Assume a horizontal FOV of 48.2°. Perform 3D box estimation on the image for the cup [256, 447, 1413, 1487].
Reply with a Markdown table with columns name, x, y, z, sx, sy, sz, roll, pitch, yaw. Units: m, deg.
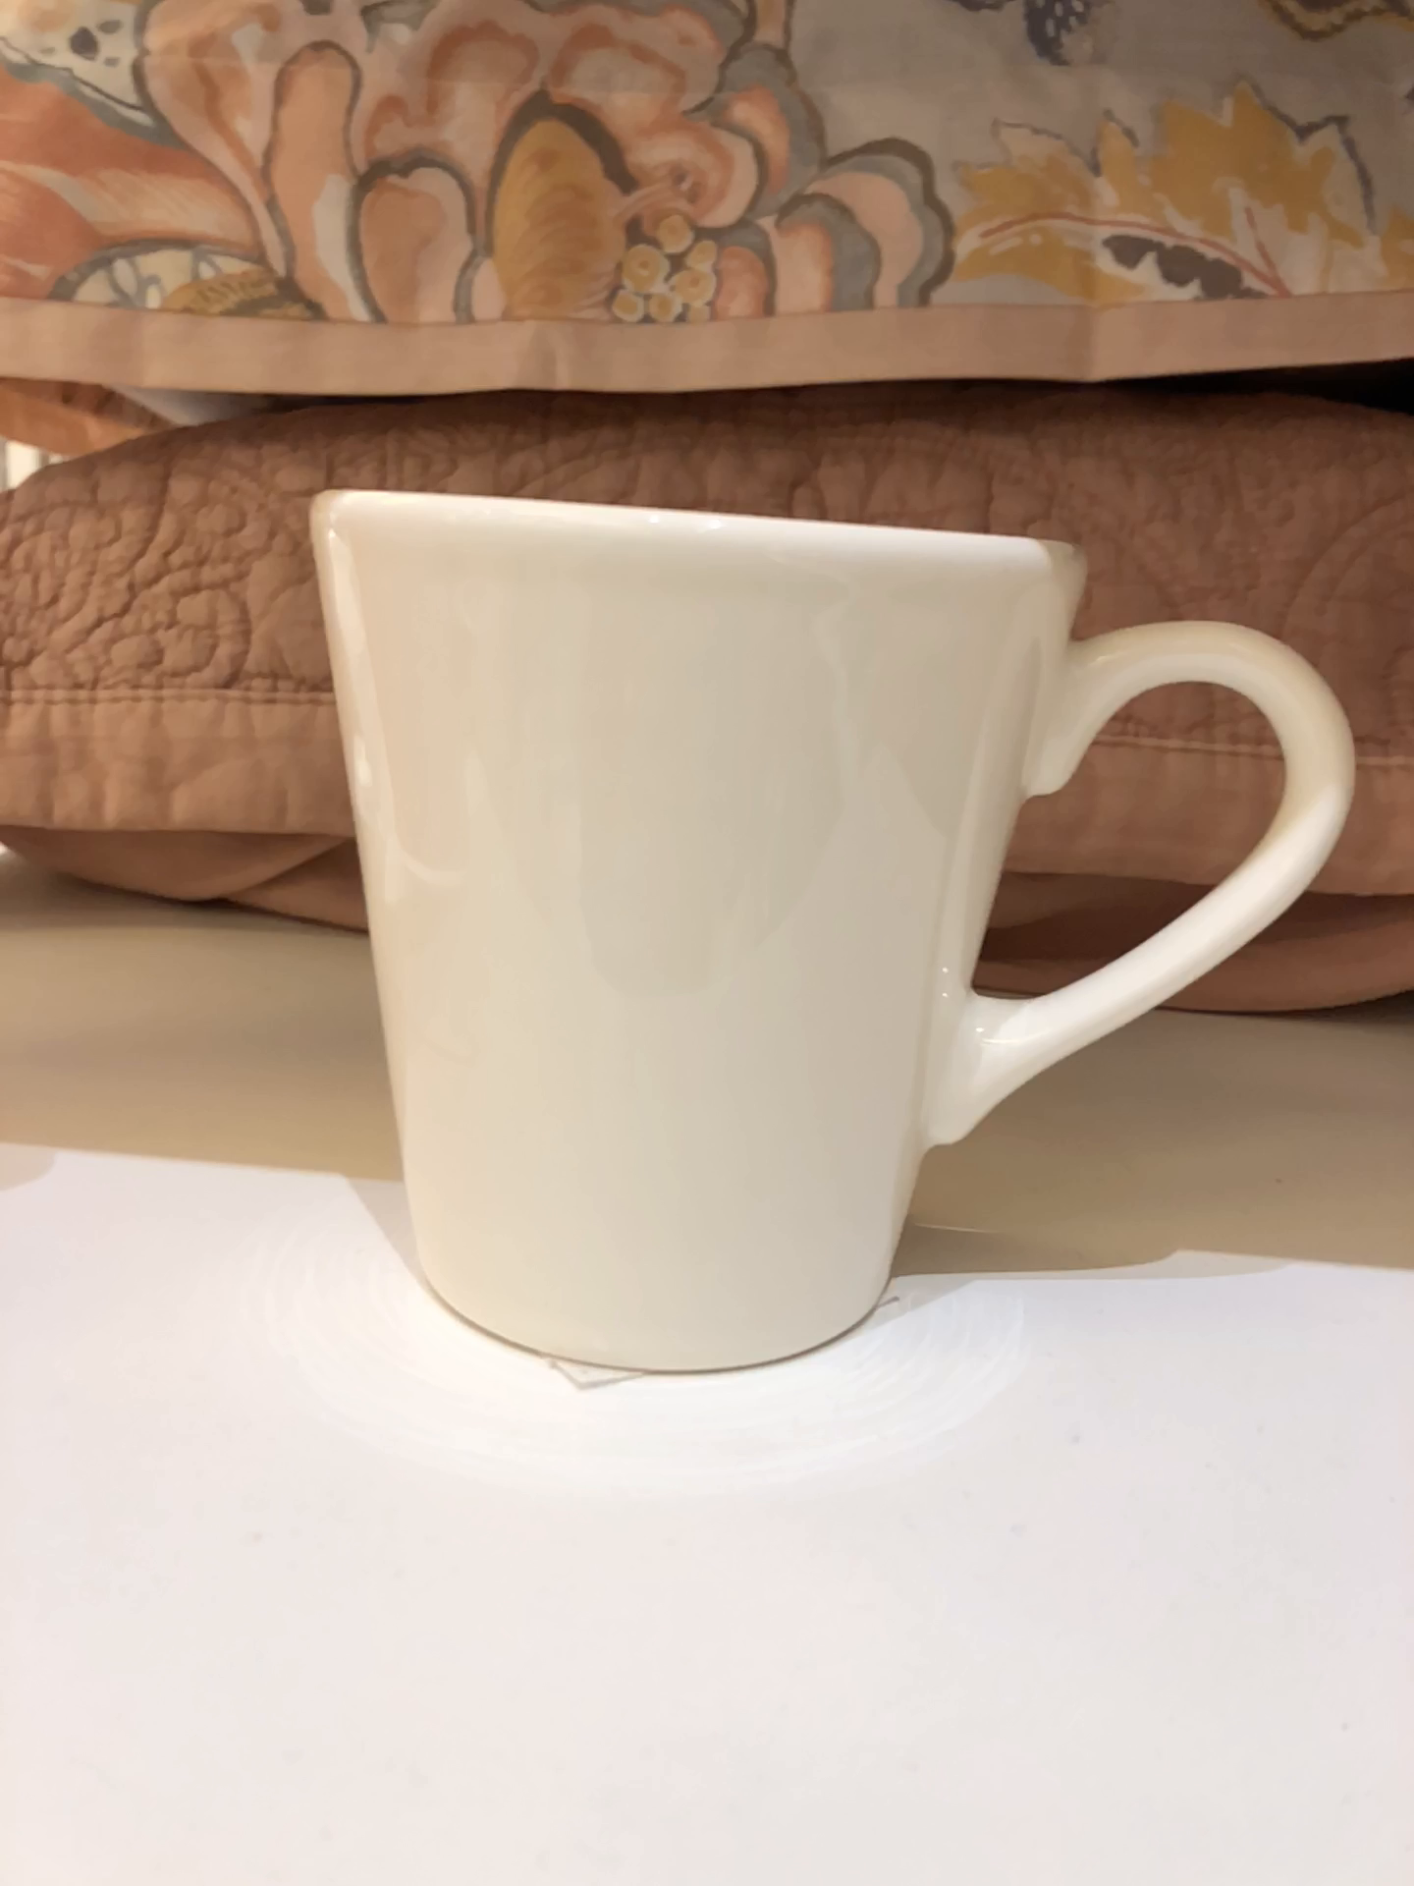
| name | x | y | z | sx | sy | sz | roll | pitch | yaw |
| --- | --- | --- | --- | --- | --- | --- | --- | --- | --- |
| cup | 0.008 | -0.002 | 0.192 | 0.110 | 0.100 | 0.080 | 2 | 14 | -7 |
